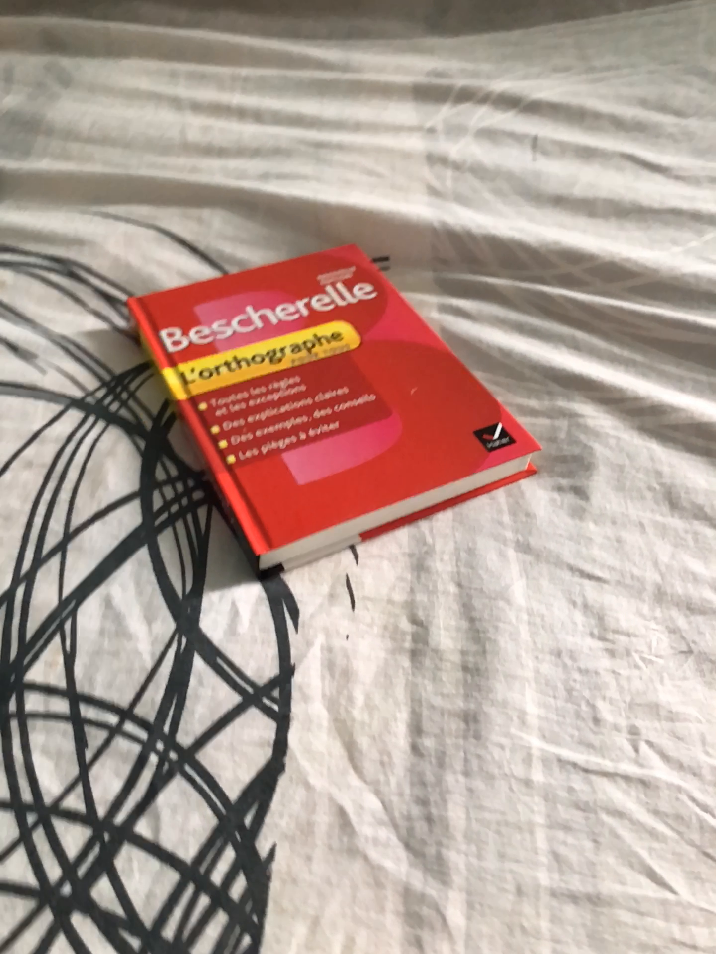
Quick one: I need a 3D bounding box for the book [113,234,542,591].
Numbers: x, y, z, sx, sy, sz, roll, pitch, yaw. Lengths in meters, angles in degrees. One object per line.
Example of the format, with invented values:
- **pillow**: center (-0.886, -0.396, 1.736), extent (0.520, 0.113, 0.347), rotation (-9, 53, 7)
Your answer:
- **book**: center (-0.024, -0.048, 0.397), extent (0.143, 0.023, 0.190), rotation (-21, 52, -18)
